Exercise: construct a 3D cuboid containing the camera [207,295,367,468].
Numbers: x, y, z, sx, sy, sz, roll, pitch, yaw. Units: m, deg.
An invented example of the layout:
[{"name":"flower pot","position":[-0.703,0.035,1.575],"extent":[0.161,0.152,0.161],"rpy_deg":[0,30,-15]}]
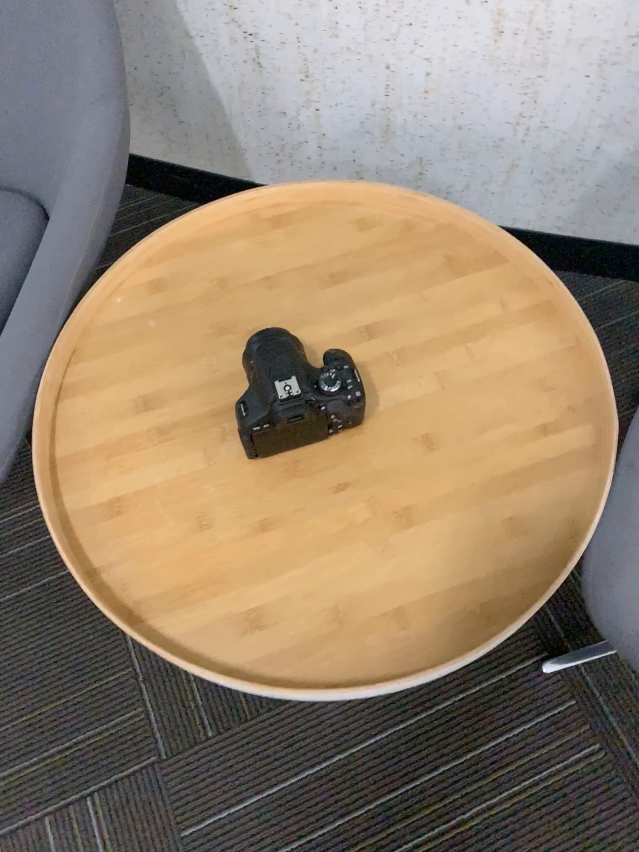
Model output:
[{"name":"camera","position":[-0.032,-0.046,0.696],"extent":[0.134,0.100,0.120],"rpy_deg":[-16,65,-4]}]
